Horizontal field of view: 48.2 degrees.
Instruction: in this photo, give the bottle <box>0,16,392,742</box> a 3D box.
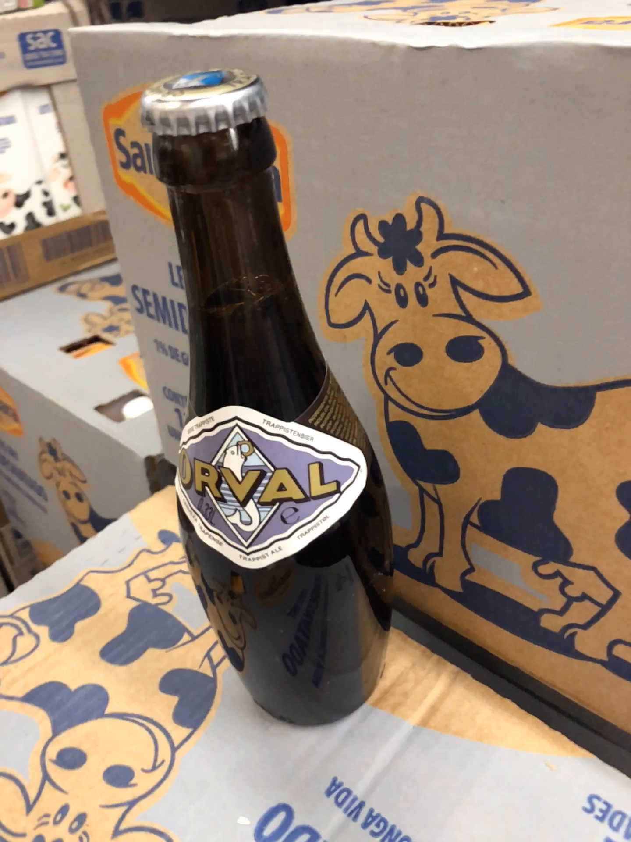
[{"bbox_3d":[-0.018,0.003,0.213,0.070,0.208,0.060,3,34,13],"label":"bottle"}]
